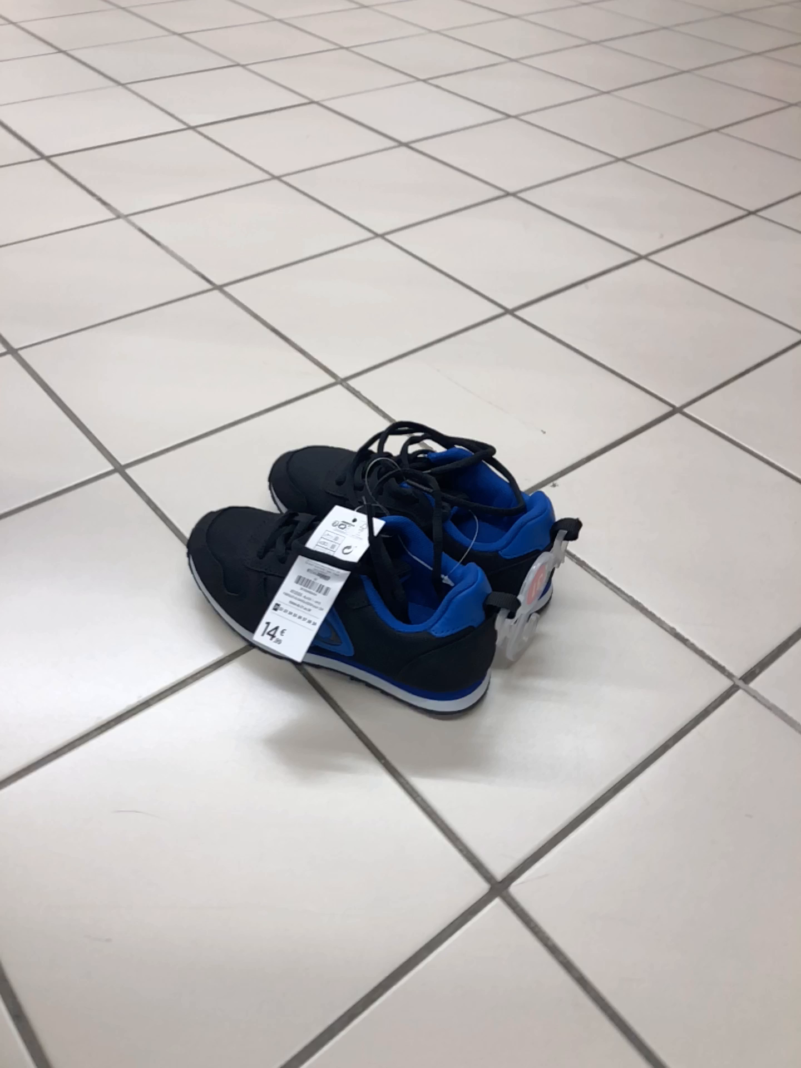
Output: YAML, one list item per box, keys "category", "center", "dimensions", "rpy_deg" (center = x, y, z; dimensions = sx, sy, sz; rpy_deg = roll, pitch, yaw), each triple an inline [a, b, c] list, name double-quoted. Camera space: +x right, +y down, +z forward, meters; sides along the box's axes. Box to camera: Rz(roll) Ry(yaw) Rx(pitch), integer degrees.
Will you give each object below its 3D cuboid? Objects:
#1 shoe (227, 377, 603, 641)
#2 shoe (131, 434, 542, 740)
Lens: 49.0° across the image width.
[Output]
- category: "shoe"
  center: [0.006, -0.022, 0.560]
  dimensions: [0.217, 0.061, 0.085]
  rpy_deg: [22, 46, 19]
- category: "shoe"
  center: [-0.038, 0.024, 0.508]
  dimensions: [0.211, 0.071, 0.085]
  rpy_deg: [20, 45, 18]
